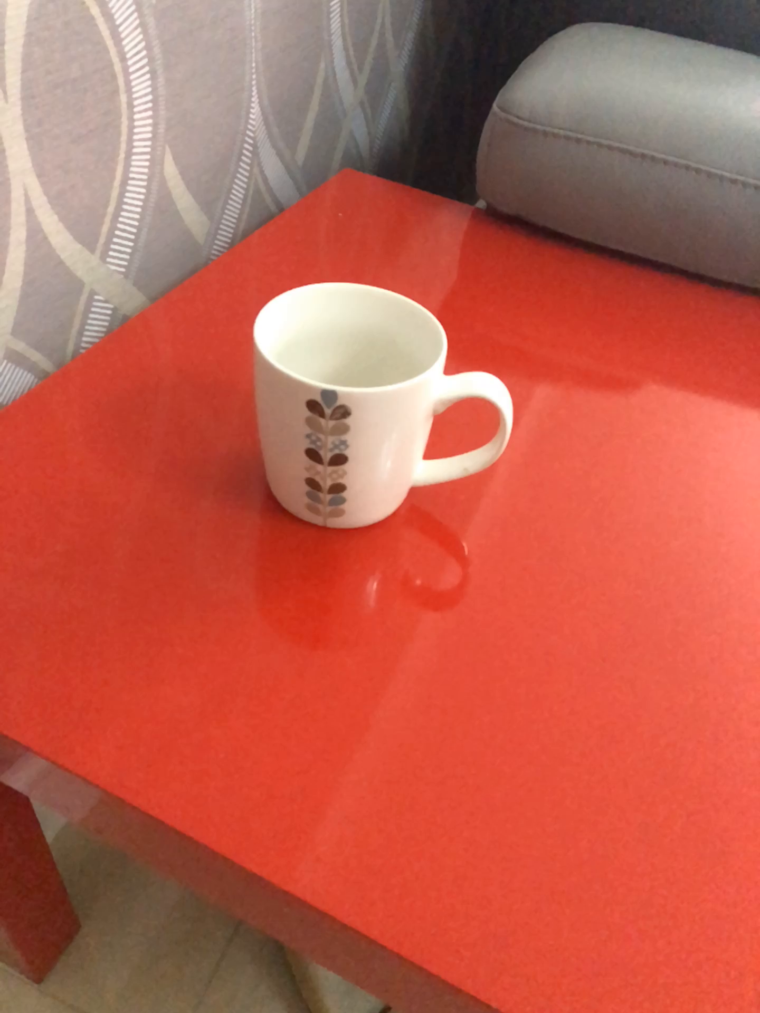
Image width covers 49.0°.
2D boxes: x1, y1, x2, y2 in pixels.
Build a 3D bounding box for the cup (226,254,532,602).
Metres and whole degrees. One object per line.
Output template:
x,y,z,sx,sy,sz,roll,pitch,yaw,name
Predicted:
0.000,-0.037,0.405,0.120,0.119,0.091,11,43,4,cup
